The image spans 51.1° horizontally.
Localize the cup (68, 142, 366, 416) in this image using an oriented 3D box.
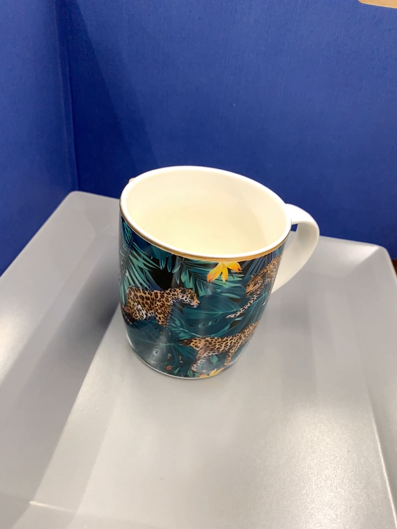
[{"bbox_3d":[0.007,-0.004,0.242,0.126,0.091,0.093,-19,42,-32],"label":"cup"}]
